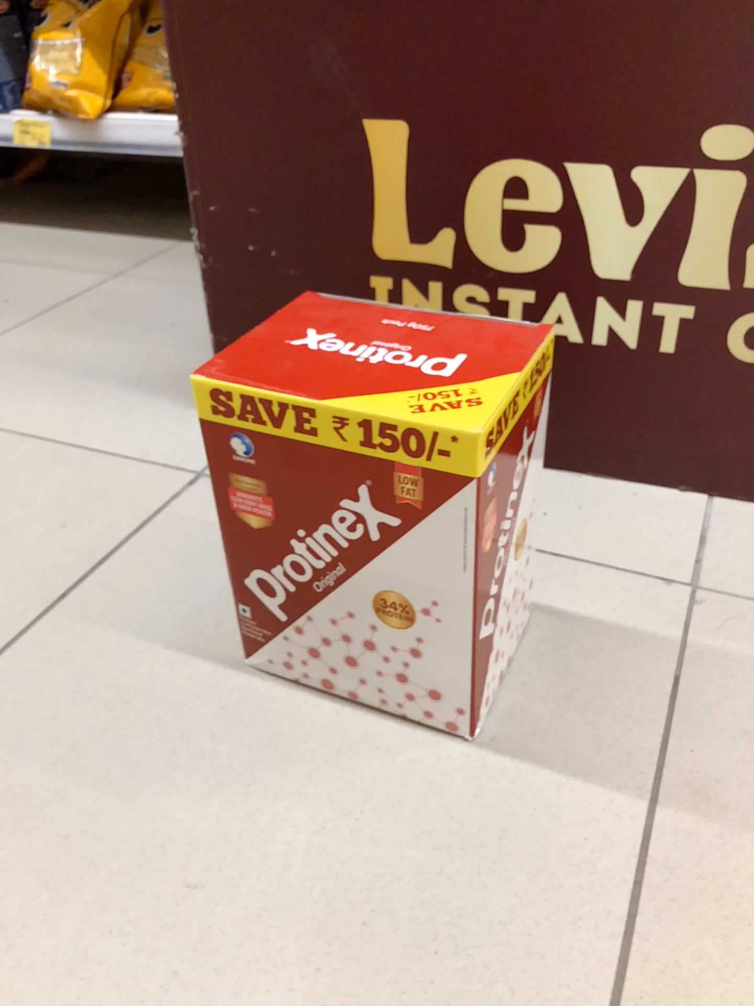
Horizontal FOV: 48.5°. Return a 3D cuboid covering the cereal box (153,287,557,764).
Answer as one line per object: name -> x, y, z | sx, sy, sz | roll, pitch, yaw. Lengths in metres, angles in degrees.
cereal box -> -0.004, 0.007, 0.462 | 0.160, 0.199, 0.121 | 13, 37, 22
